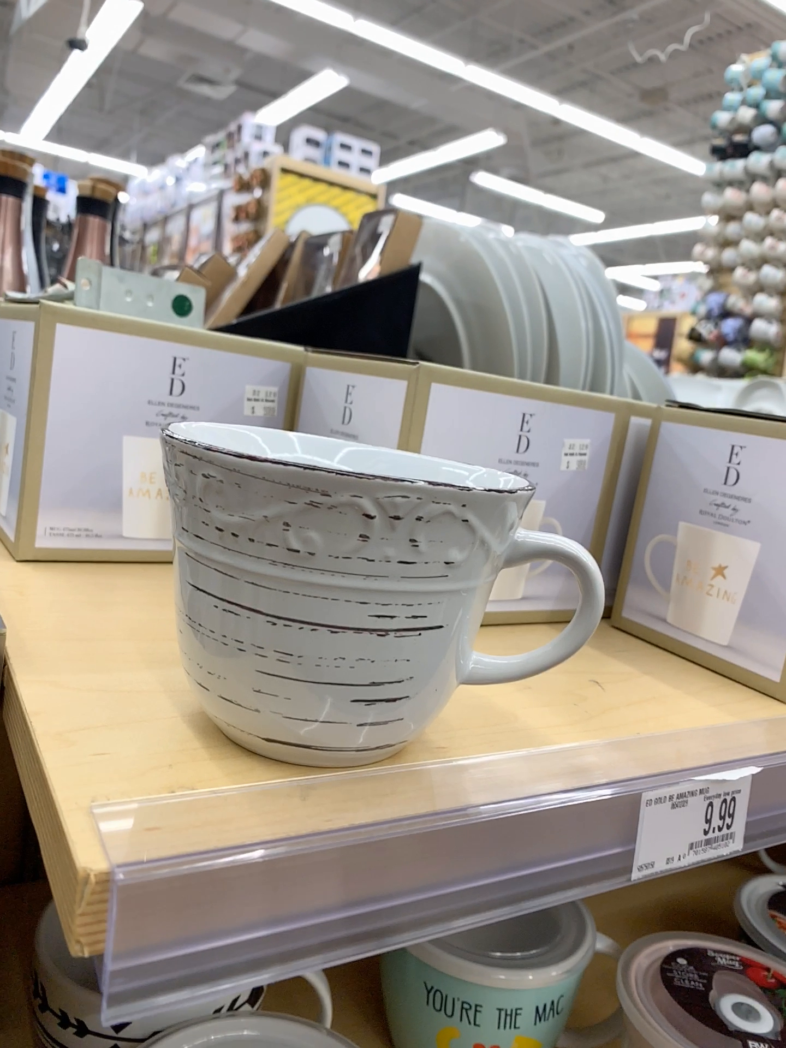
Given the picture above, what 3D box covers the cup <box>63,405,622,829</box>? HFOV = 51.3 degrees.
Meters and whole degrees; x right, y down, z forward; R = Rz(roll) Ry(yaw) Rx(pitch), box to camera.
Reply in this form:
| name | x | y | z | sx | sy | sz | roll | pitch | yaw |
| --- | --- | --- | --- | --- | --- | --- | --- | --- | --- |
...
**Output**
| name | x | y | z | sx | sy | sz | roll | pitch | yaw |
| --- | --- | --- | --- | --- | --- | --- | --- | --- | --- |
| cup | -0.004 | 0.012 | 0.239 | 0.124 | 0.075 | 0.114 | 7 | 8 | -1 |
